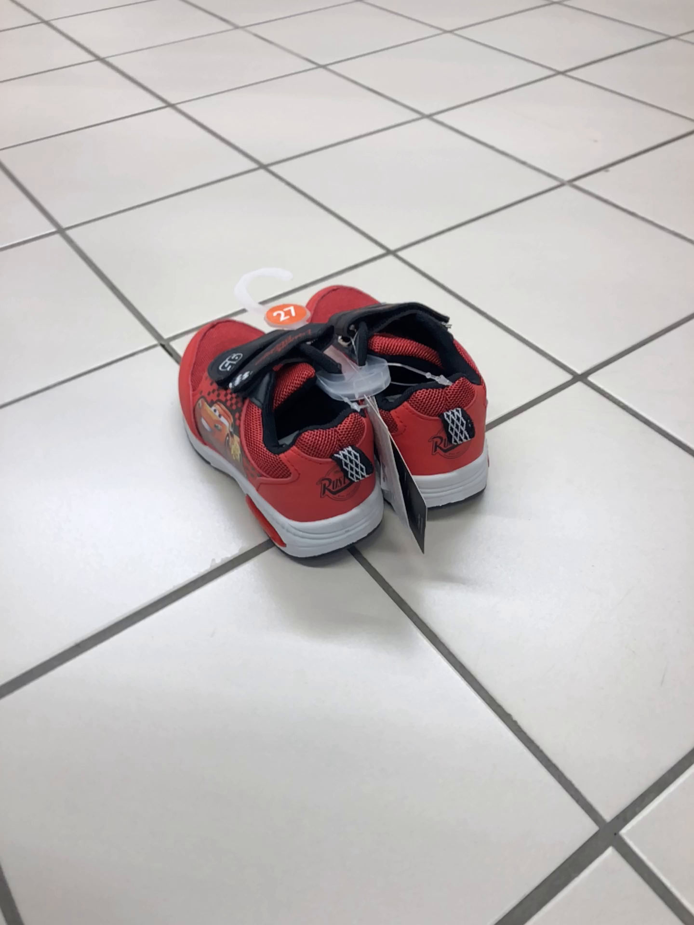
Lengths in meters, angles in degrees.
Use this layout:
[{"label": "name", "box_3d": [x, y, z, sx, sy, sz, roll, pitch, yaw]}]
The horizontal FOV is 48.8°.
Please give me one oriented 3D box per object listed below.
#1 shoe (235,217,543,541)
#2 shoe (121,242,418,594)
[{"label": "shoe", "box_3d": [0.015, -0.060, 0.450, 0.088, 0.073, 0.195, -20, 47, -18]}, {"label": "shoe", "box_3d": [-0.049, -0.037, 0.427, 0.088, 0.074, 0.195, -20, 47, -18]}]
